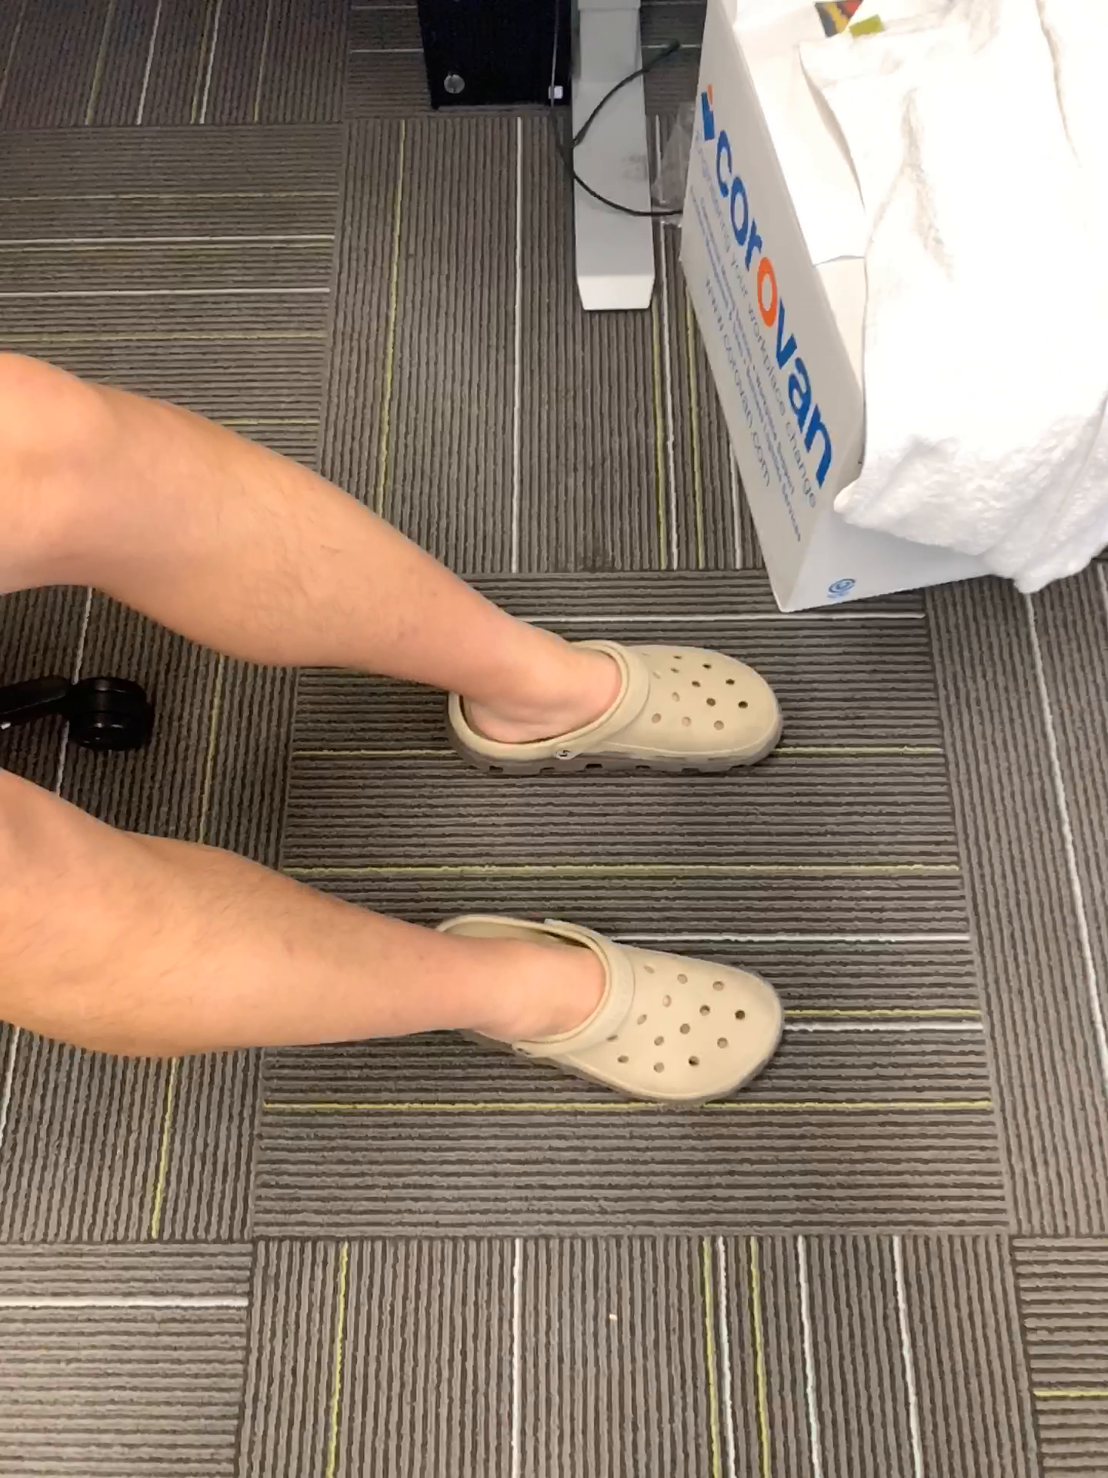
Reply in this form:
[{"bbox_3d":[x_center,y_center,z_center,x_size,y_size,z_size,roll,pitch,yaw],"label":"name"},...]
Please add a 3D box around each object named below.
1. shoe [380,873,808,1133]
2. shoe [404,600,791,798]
[{"bbox_3d":[0.034,0.219,0.939,0.321,0.080,0.134,12,70,6],"label":"shoe"},{"bbox_3d":[0.042,-0.036,1.024,0.330,0.080,0.140,3,69,3],"label":"shoe"}]
